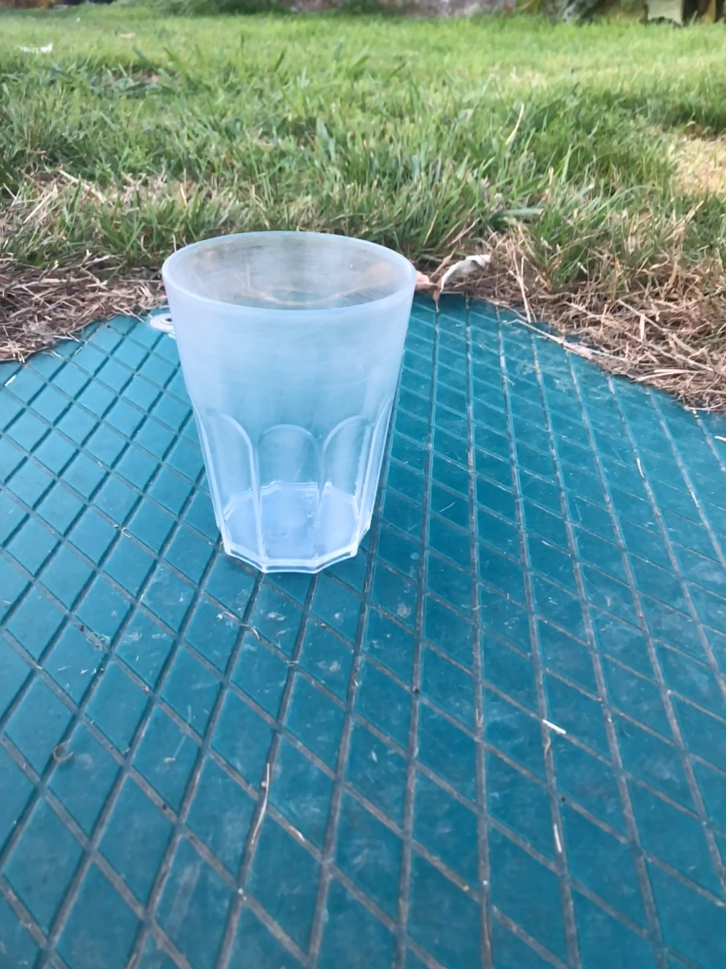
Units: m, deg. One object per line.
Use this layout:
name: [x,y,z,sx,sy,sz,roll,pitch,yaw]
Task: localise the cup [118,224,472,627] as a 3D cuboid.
cup: [-0.028,-0.029,0.312,0.092,0.113,0.088,3,31,-2]
